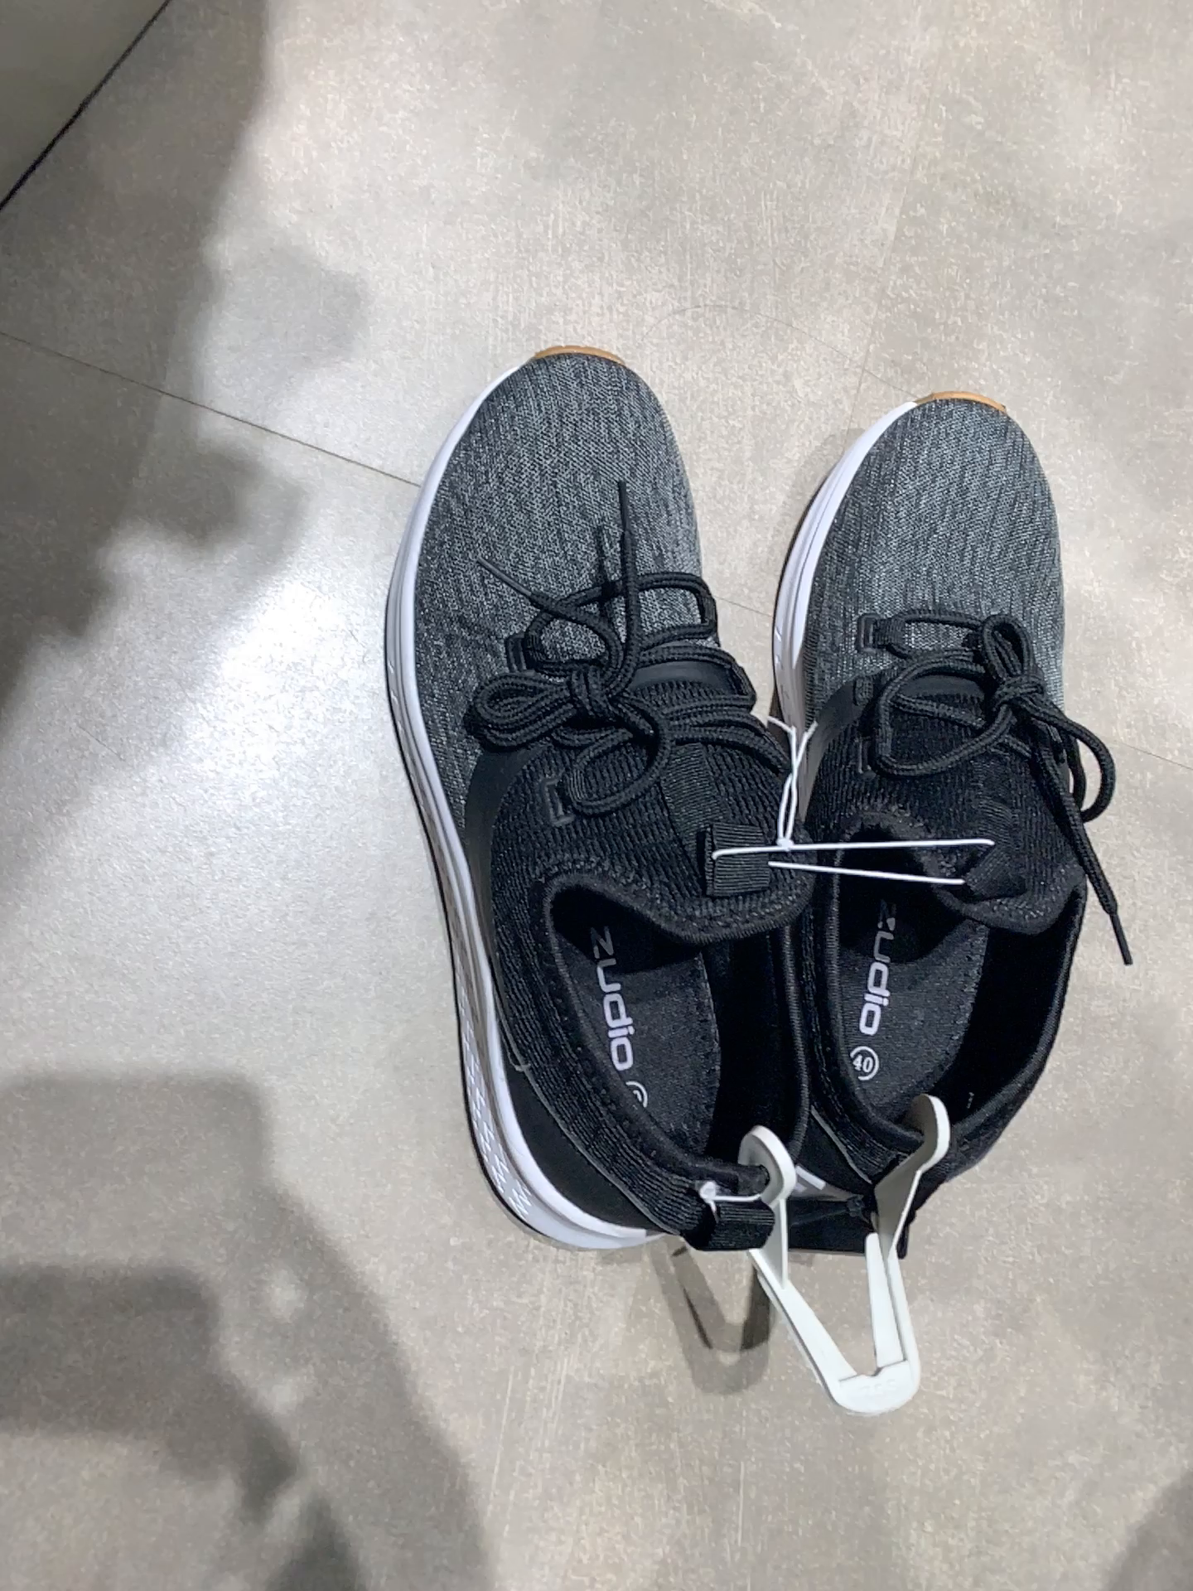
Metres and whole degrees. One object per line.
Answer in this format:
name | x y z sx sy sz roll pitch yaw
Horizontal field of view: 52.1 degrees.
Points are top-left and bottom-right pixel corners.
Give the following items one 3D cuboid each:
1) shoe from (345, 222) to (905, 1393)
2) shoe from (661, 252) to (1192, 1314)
shoe | -0.001 -0.002 0.349 0.106 0.096 0.278 -5 86 -16
shoe | 0.110 -0.002 0.384 0.107 0.096 0.278 13 81 -14
